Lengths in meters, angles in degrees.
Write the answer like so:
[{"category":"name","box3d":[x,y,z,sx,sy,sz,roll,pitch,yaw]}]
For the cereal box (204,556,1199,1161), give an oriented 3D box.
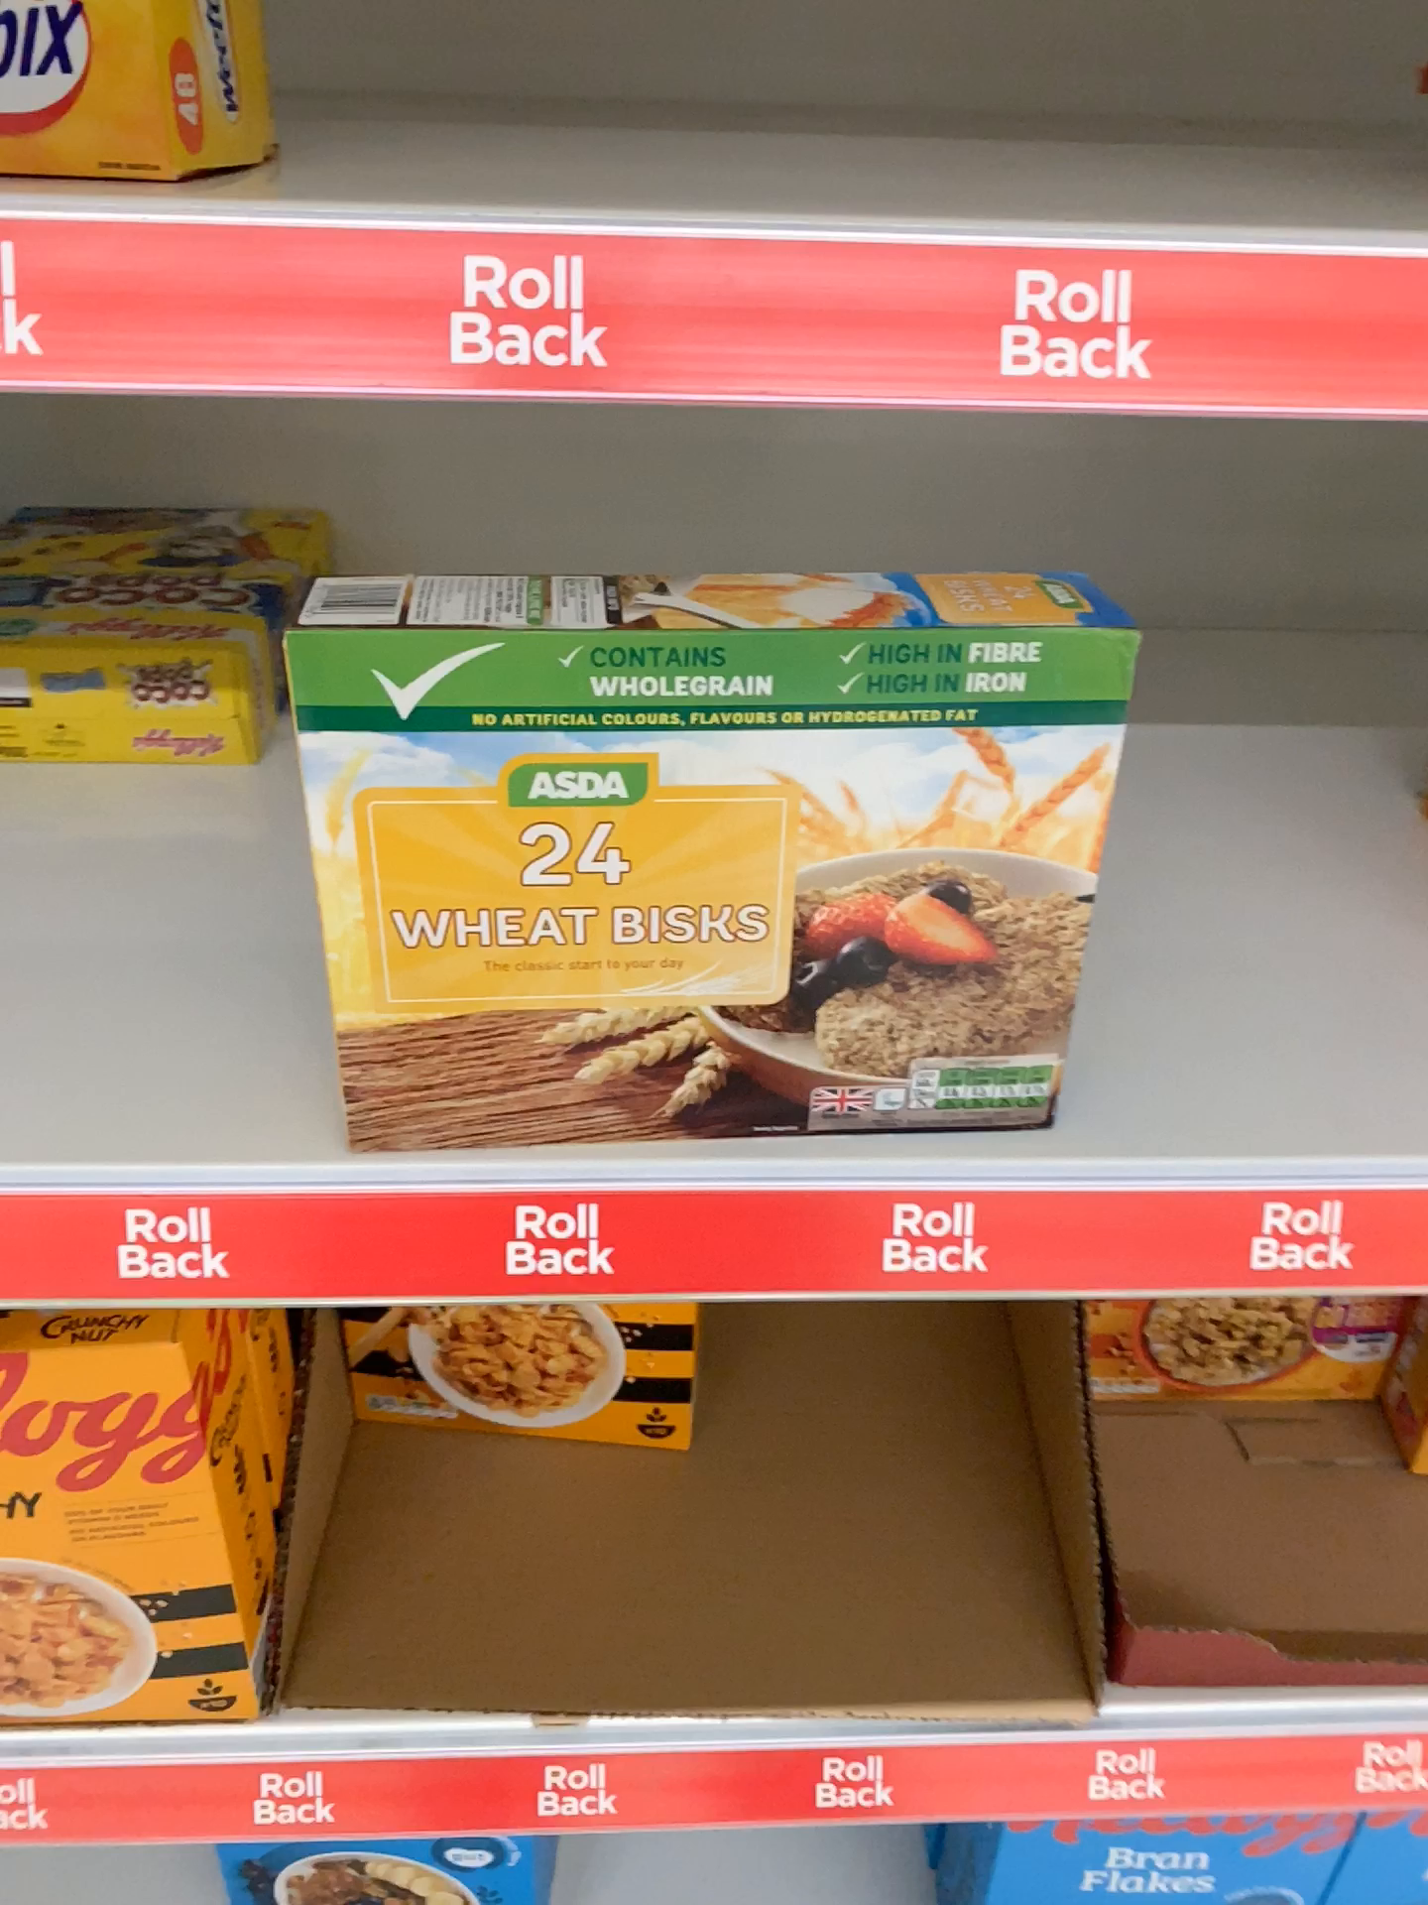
[{"category":"cereal box","box3d":[-0.004,-0.029,0.469,0.270,0.178,0.061,-2,32,-6]}]
